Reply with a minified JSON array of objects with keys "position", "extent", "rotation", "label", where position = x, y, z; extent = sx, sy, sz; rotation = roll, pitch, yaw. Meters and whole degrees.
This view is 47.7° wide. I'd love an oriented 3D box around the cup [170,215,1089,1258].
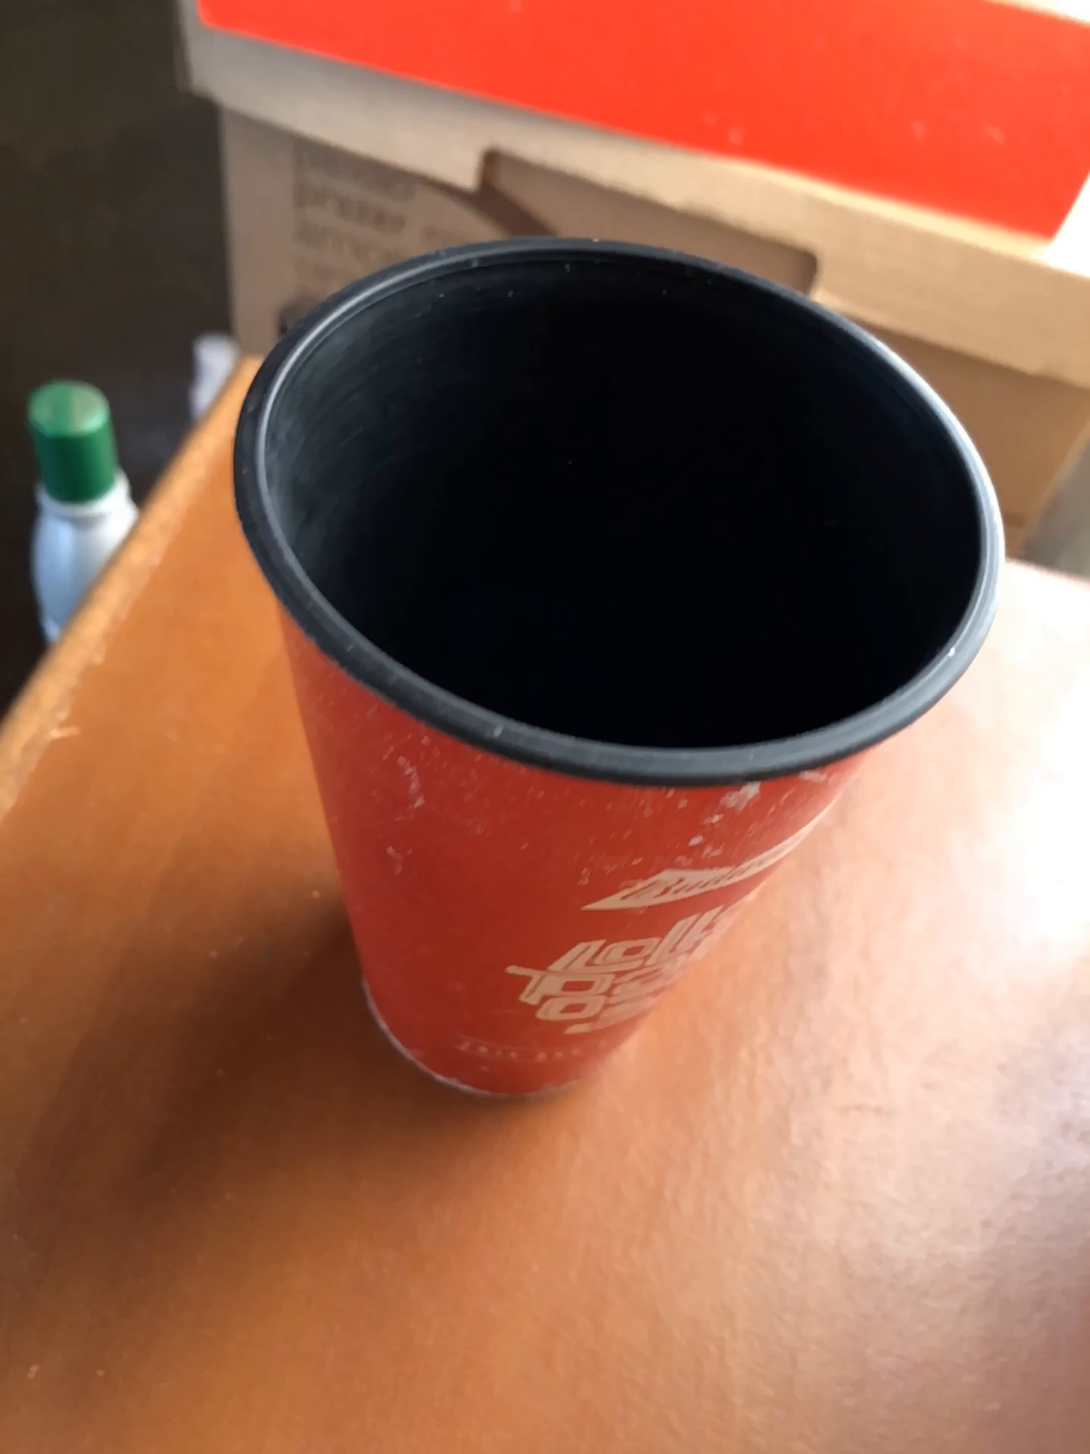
[{"position":[0.003,0.007,0.205],"extent":[0.100,0.139,0.091],"rotation":[-12,56,-20],"label":"cup"}]
